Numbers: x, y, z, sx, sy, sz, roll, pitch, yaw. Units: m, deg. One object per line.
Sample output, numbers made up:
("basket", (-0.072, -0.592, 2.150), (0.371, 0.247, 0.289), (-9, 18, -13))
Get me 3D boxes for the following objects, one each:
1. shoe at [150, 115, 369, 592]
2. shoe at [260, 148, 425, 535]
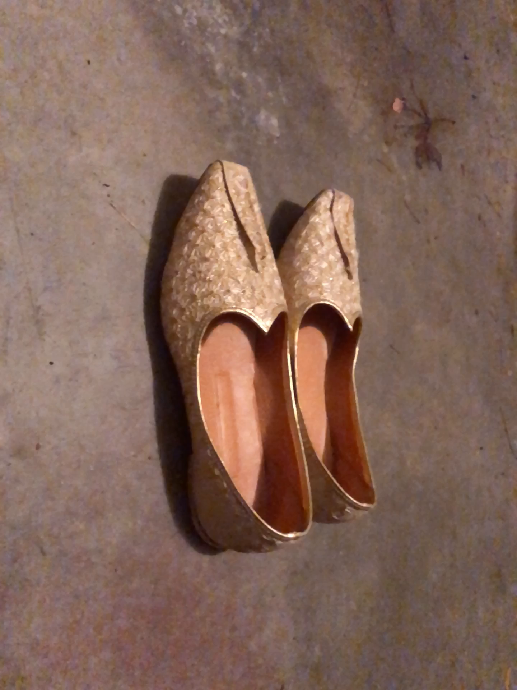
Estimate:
("shoe", (0.001, 0.005, 0.392), (0.104, 0.073, 0.275), (-1, 84, -44))
("shoe", (0.071, 0.002, 0.458), (0.104, 0.073, 0.275), (14, 74, -42))
